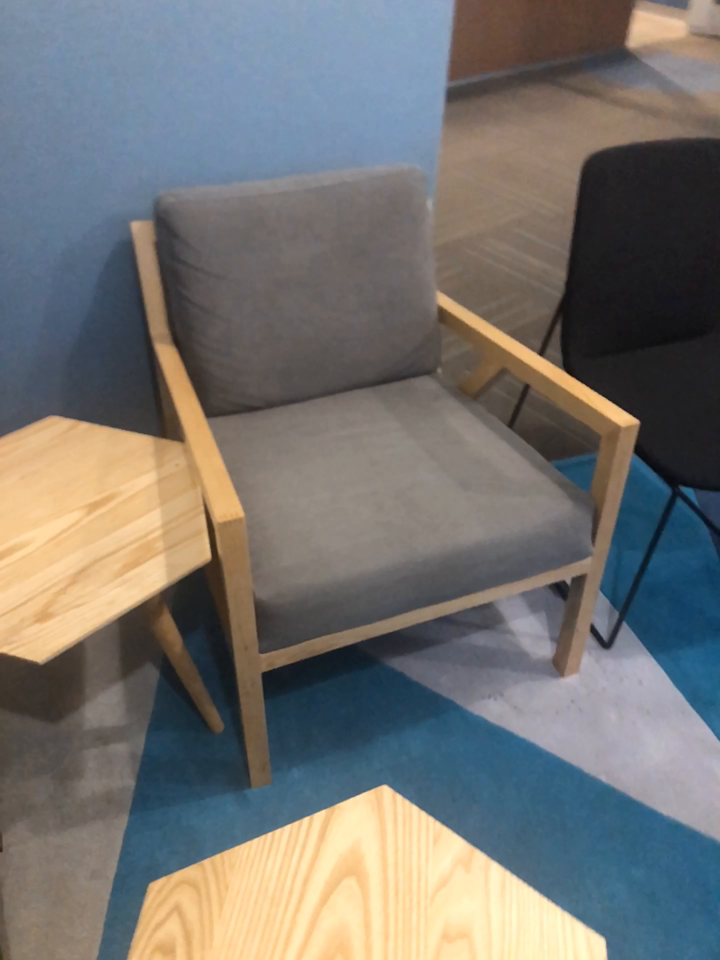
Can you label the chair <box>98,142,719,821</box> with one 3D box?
[{"bbox_3d":[0.015,-0.067,1.464,0.712,0.743,0.845,-14,43,-18],"label":"chair"}]
